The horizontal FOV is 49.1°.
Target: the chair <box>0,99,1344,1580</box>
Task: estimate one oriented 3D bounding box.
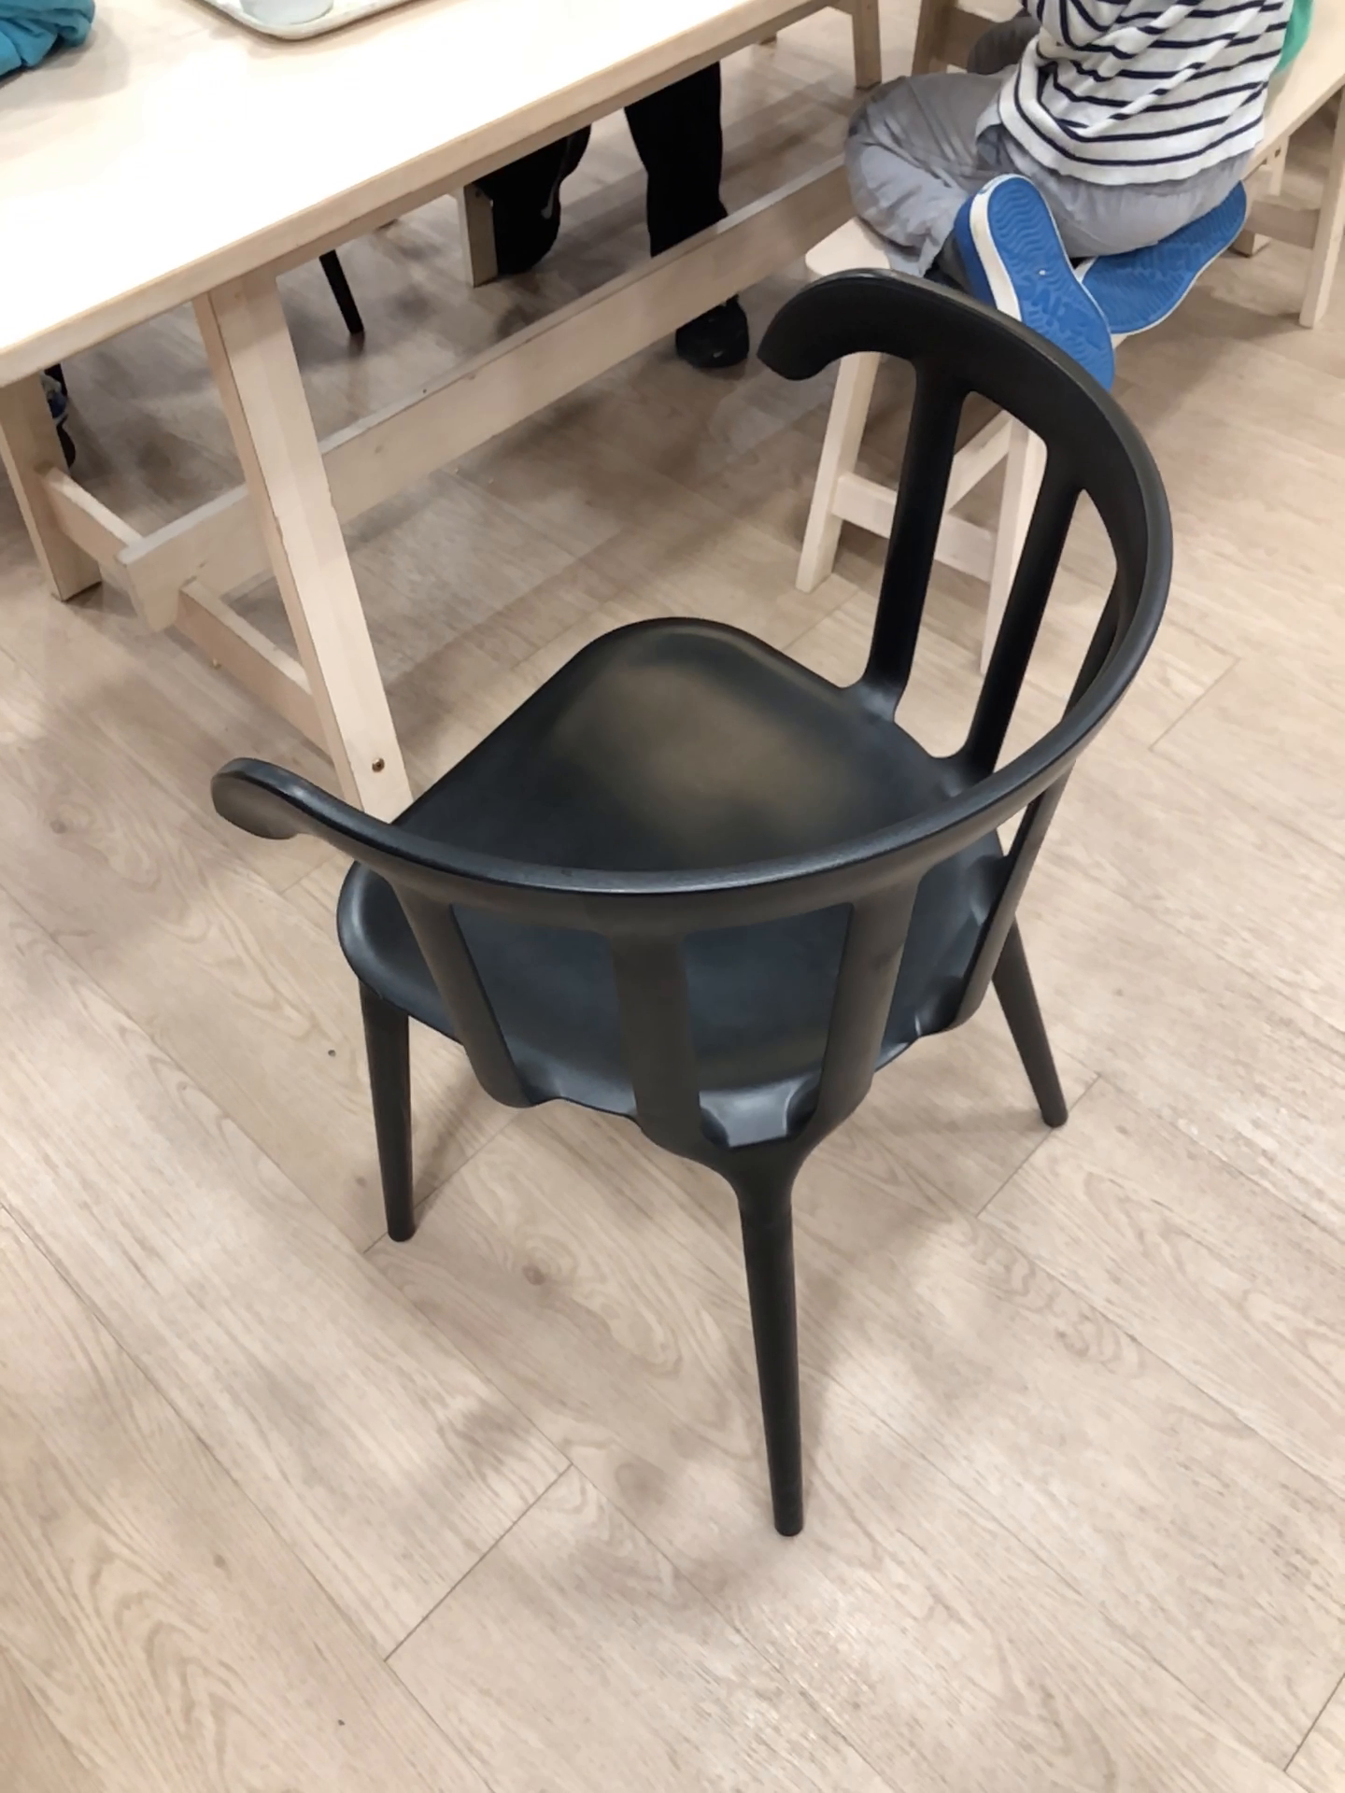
[{"bbox_3d":[0.041,-0.018,1.002,0.531,0.686,0.532,30,59,23],"label":"chair"}]
